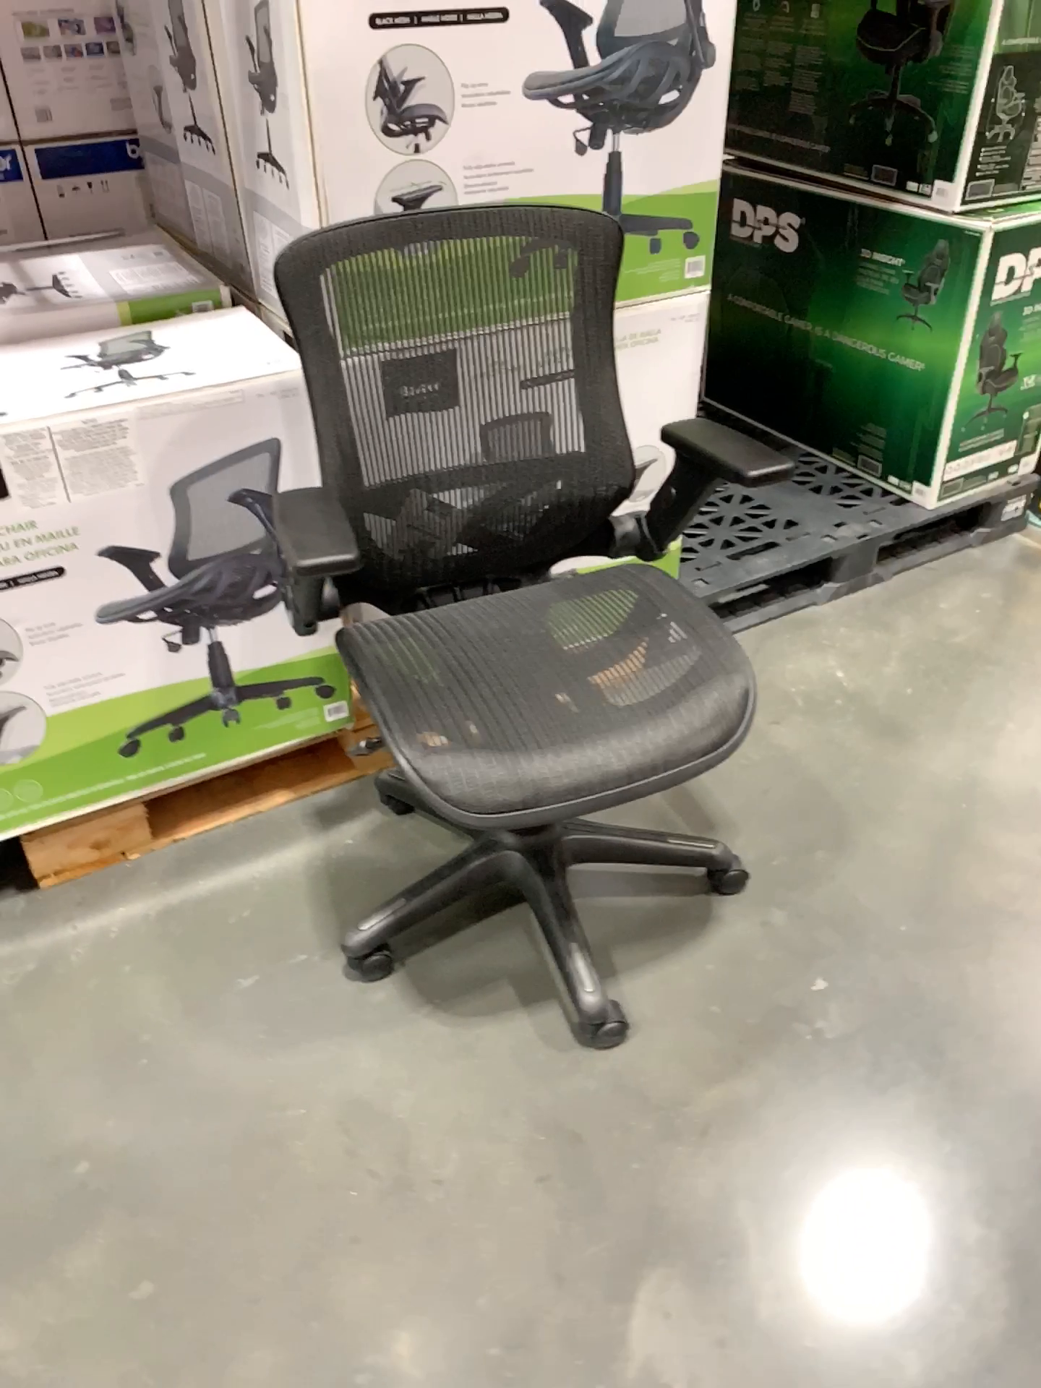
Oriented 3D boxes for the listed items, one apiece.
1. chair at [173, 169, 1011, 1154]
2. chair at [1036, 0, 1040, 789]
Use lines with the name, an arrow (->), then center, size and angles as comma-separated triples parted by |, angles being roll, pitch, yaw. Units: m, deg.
chair -> 0.015, -0.086, 1.460 | 0.675, 0.987, 0.739 | -14, 38, -17
chair -> 1.738, -0.601, 1.907 | 0.965, 1.146, 0.759 | -11, 37, -13
